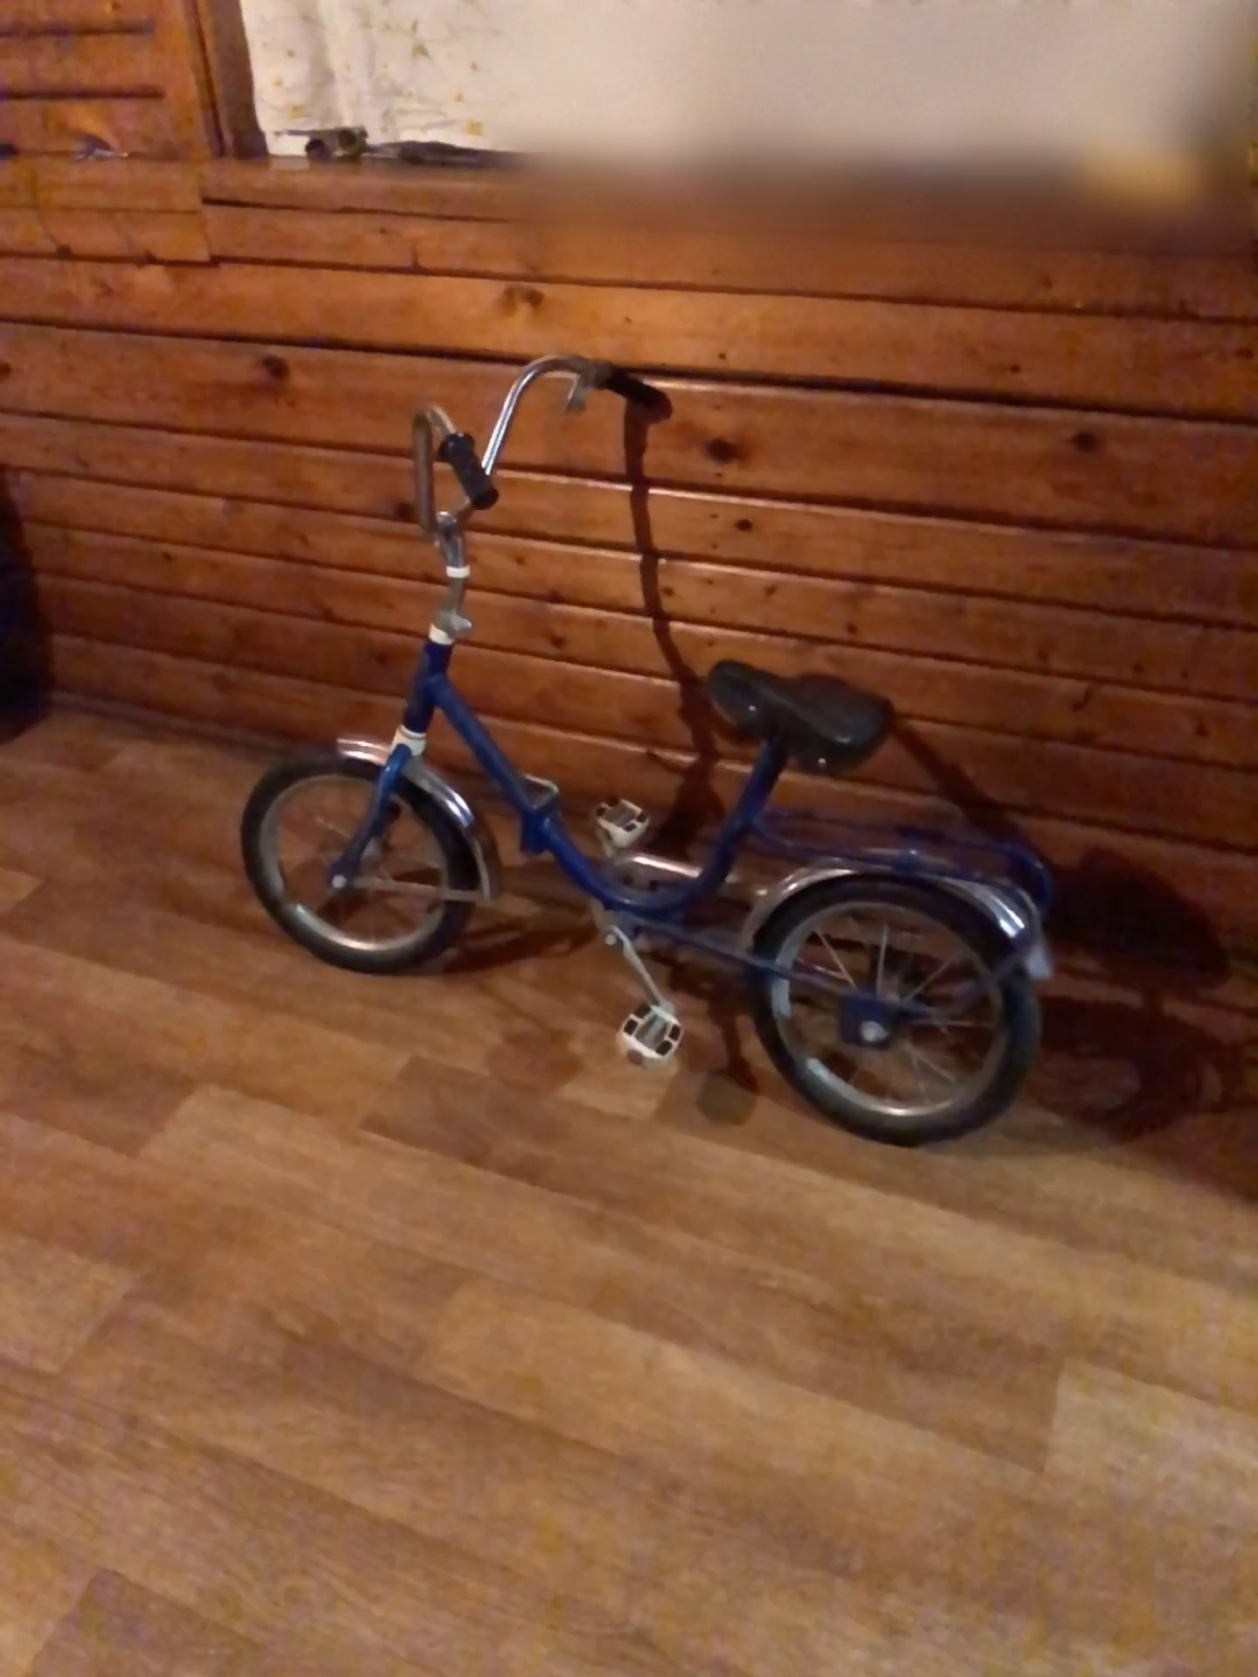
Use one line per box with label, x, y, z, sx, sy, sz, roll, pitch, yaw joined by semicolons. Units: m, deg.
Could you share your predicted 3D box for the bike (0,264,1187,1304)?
bike;-0.015;-0.121;1.467;0.957;0.697;0.596;15;39;20
